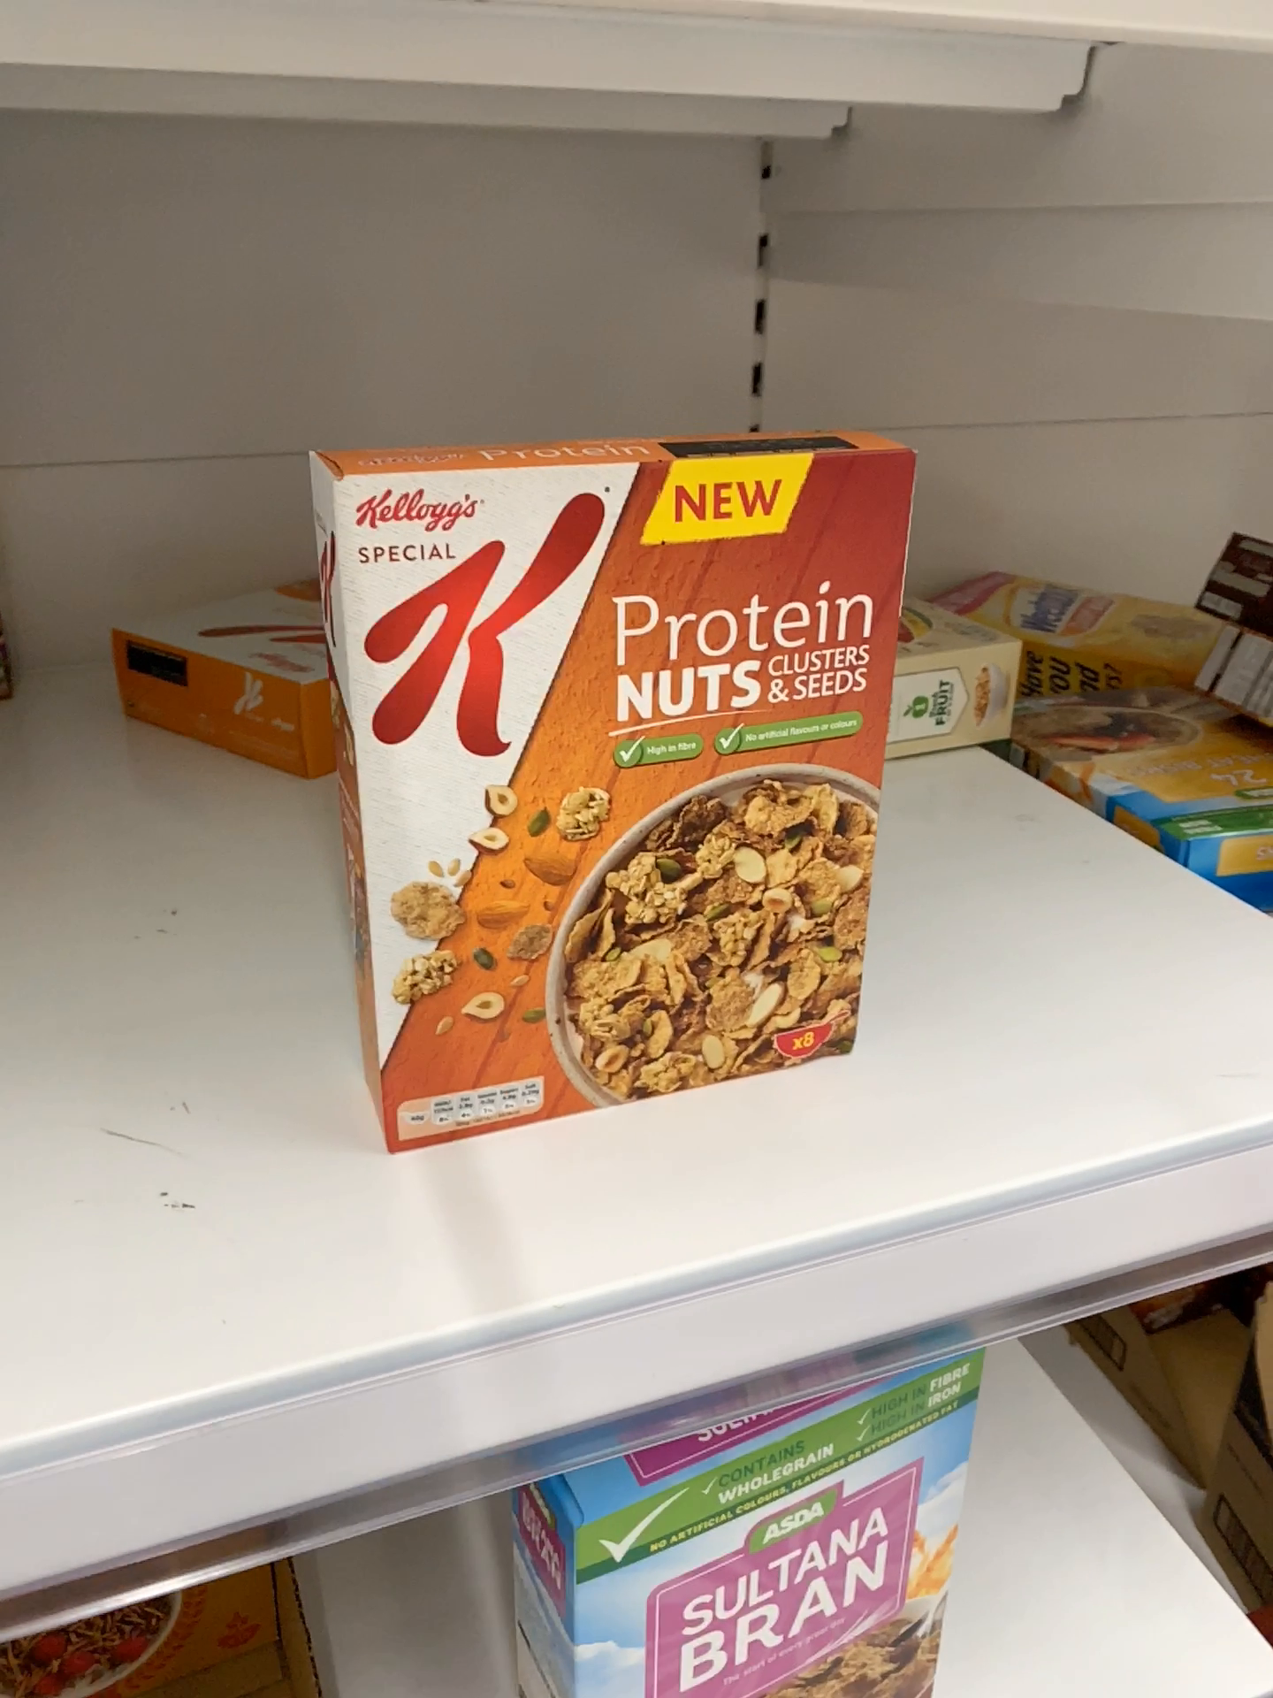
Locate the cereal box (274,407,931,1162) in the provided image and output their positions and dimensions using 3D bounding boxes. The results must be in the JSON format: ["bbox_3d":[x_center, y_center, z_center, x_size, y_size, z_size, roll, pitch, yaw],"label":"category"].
[{"bbox_3d":[-0.012,-0.027,0.473,0.200,0.238,0.071,-8,26,-19],"label":"cereal box"}]
